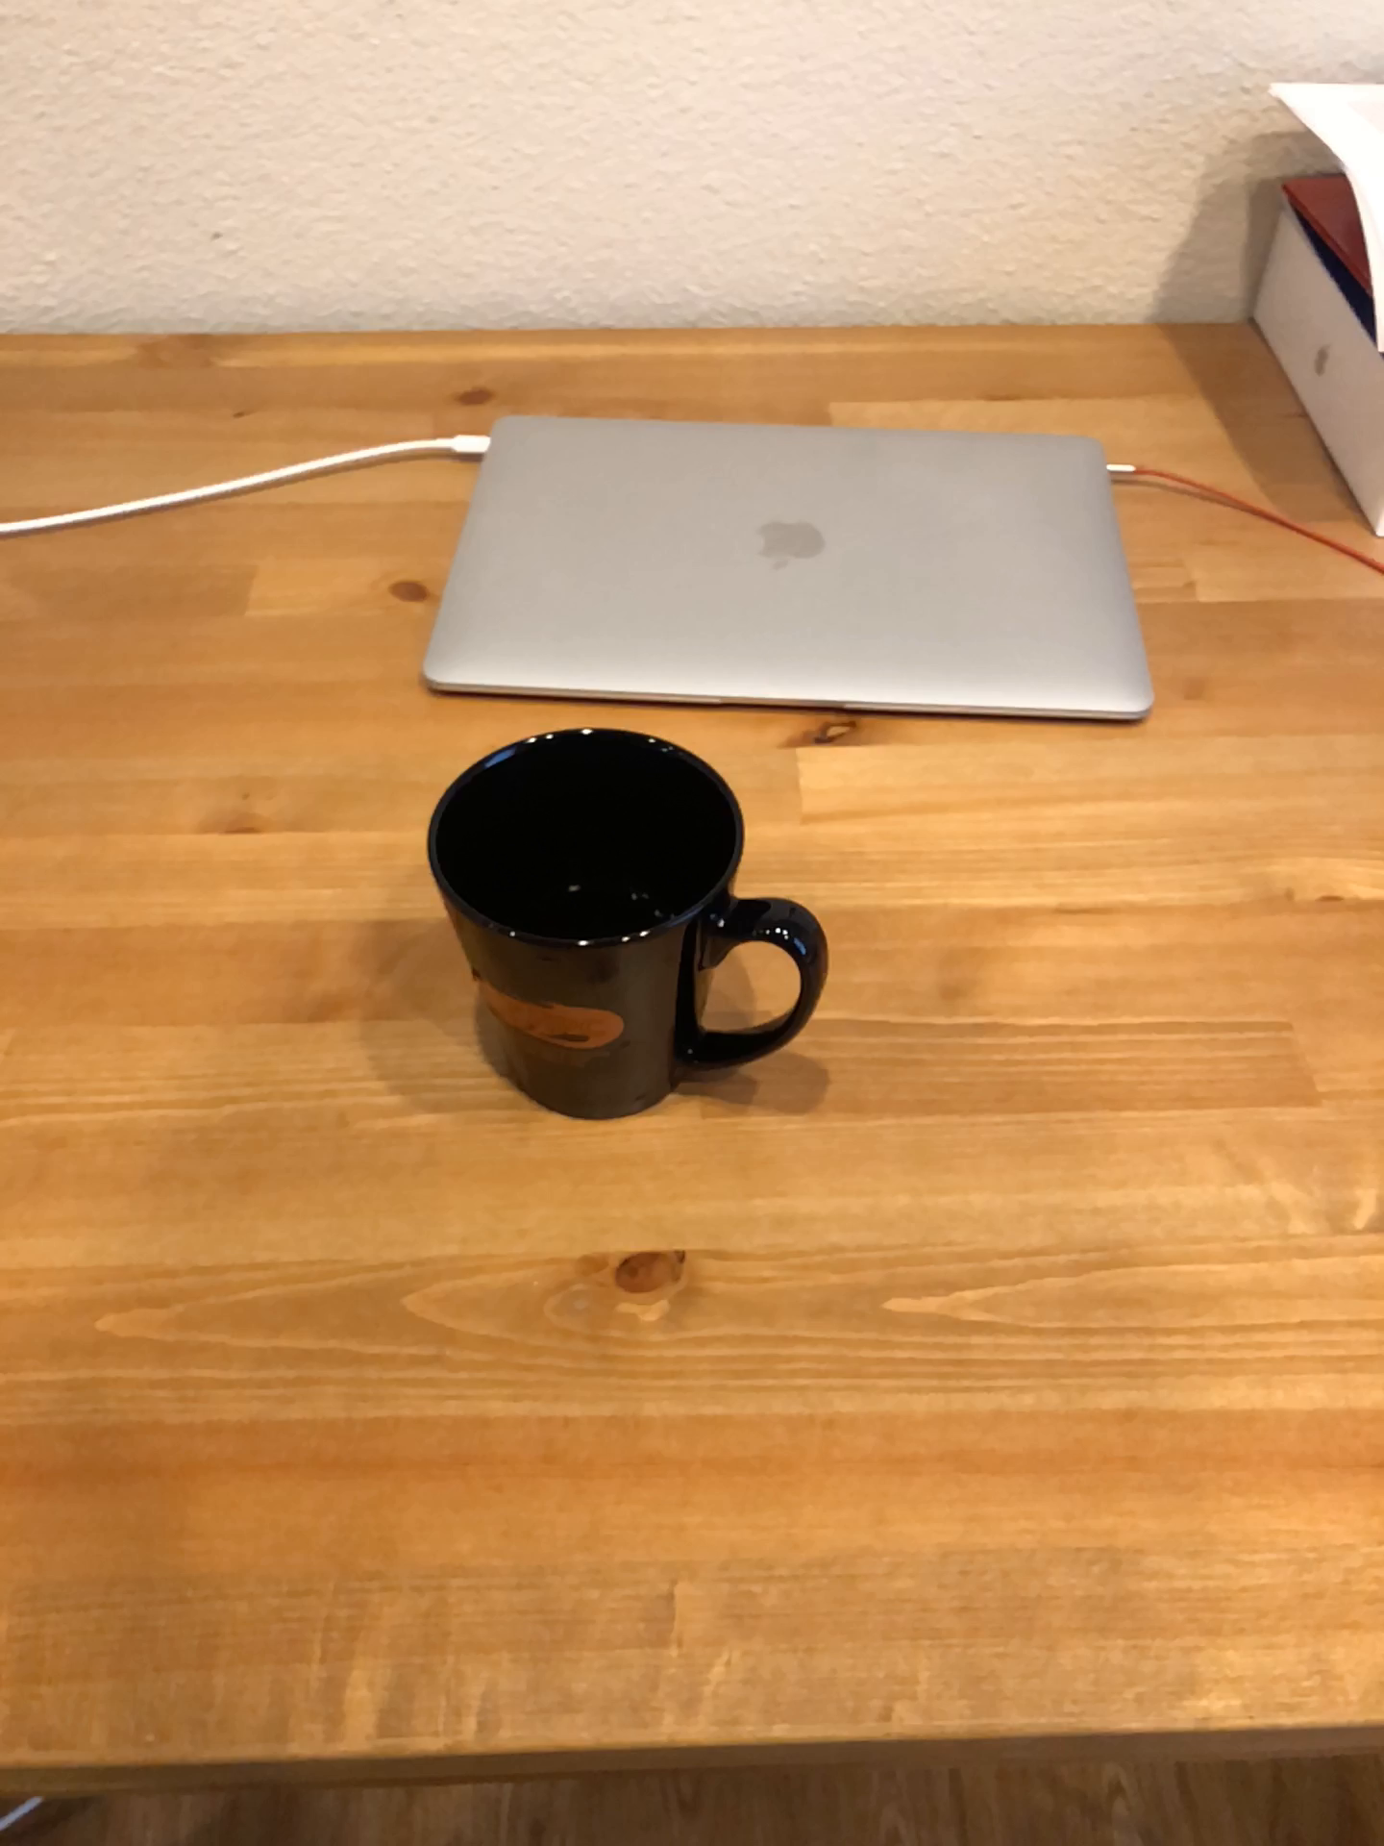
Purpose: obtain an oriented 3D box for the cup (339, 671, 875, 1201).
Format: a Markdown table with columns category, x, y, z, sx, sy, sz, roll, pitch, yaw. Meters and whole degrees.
| category | x | y | z | sx | sy | sz | roll | pitch | yaw |
| --- | --- | --- | --- | --- | --- | --- | --- | --- | --- |
| cup | -0.021 | 0.001 | 0.458 | 0.120 | 0.090 | 0.090 | 18 | 49 | 17 |
